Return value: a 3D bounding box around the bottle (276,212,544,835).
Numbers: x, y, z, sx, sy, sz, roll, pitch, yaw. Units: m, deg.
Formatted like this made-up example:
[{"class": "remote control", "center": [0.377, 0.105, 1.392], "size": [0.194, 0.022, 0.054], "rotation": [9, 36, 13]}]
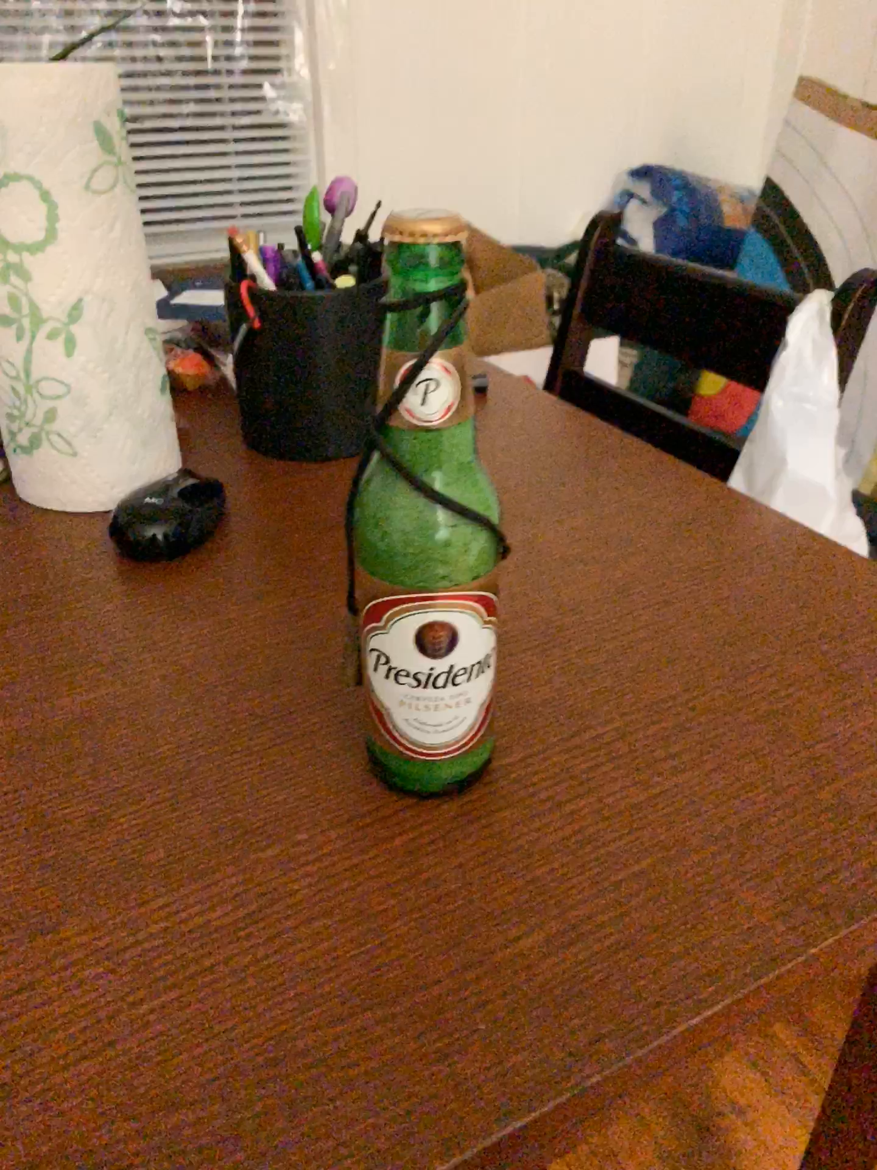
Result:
[{"class": "bottle", "center": [-0.010, -0.015, 0.362], "size": [0.080, 0.239, 0.070], "rotation": [-2, 31, -3]}]
